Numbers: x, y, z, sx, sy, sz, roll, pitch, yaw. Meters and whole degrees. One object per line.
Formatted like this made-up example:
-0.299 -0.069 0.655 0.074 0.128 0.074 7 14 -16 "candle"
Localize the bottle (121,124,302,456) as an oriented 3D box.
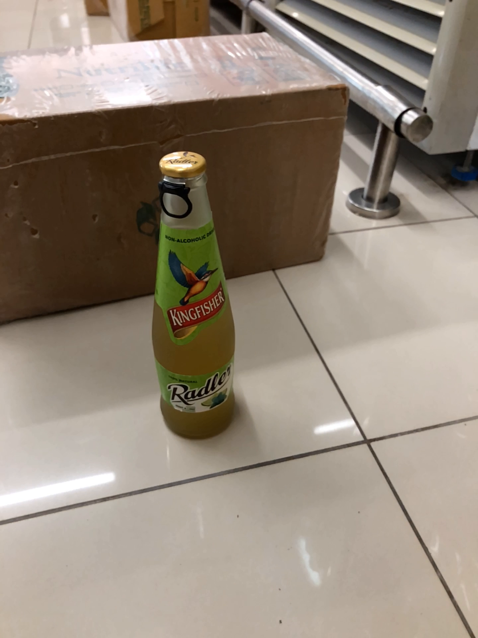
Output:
-0.020 -0.012 0.352 0.080 0.199 0.080 1 40 -1 "bottle"
